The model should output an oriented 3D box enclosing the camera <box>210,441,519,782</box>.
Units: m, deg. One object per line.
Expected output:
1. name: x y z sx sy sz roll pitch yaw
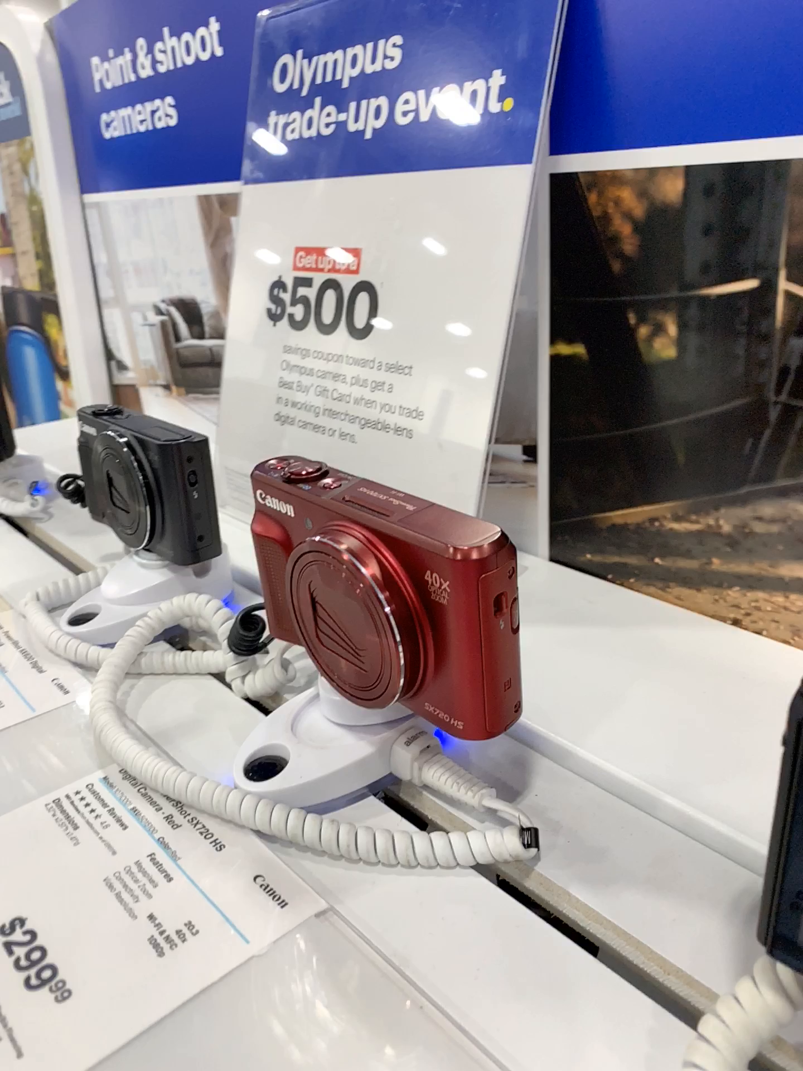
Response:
1. camera: -0.015 0.017 0.265 0.030 0.070 0.110 -23 29 -33
